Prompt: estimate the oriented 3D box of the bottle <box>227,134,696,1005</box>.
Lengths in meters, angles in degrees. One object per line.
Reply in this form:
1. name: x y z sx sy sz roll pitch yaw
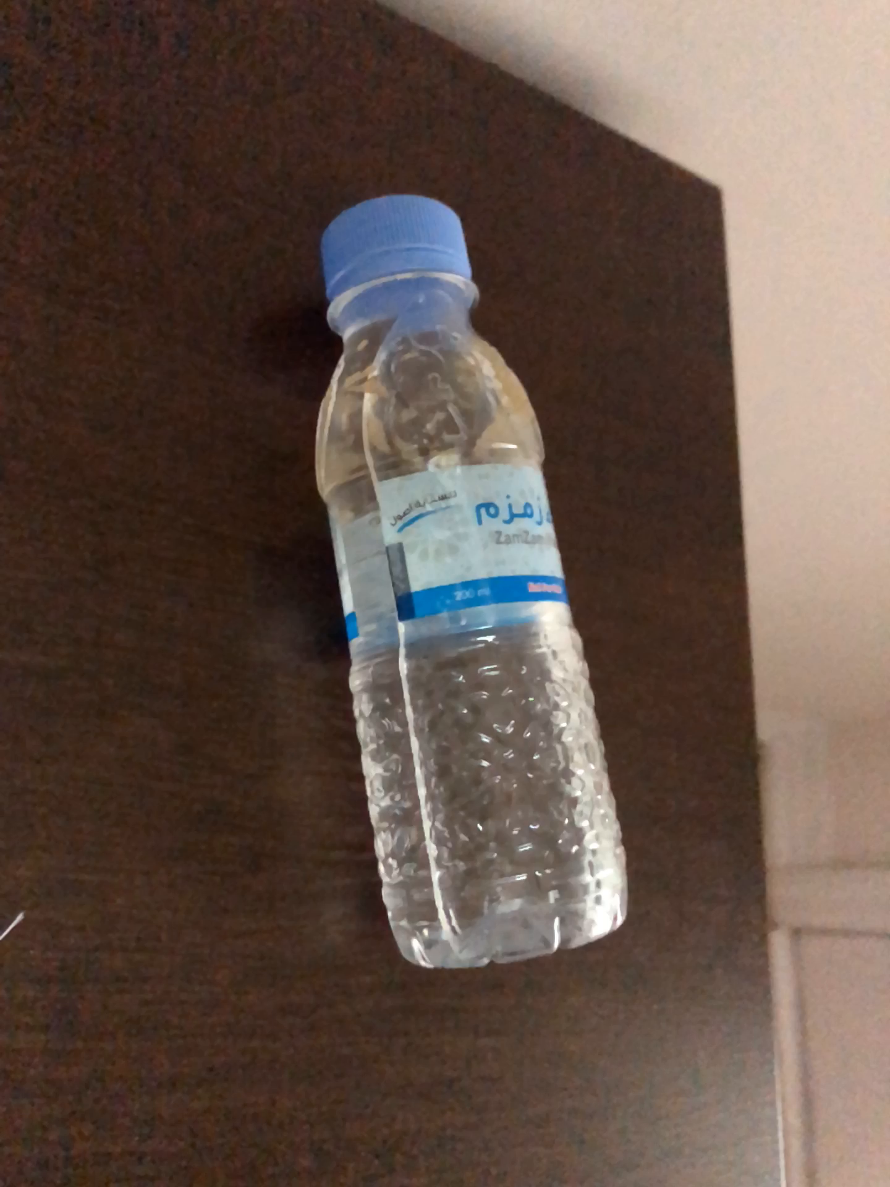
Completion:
1. bottle: 0.000 -0.004 0.213 0.050 0.050 0.160 -2 78 -43
